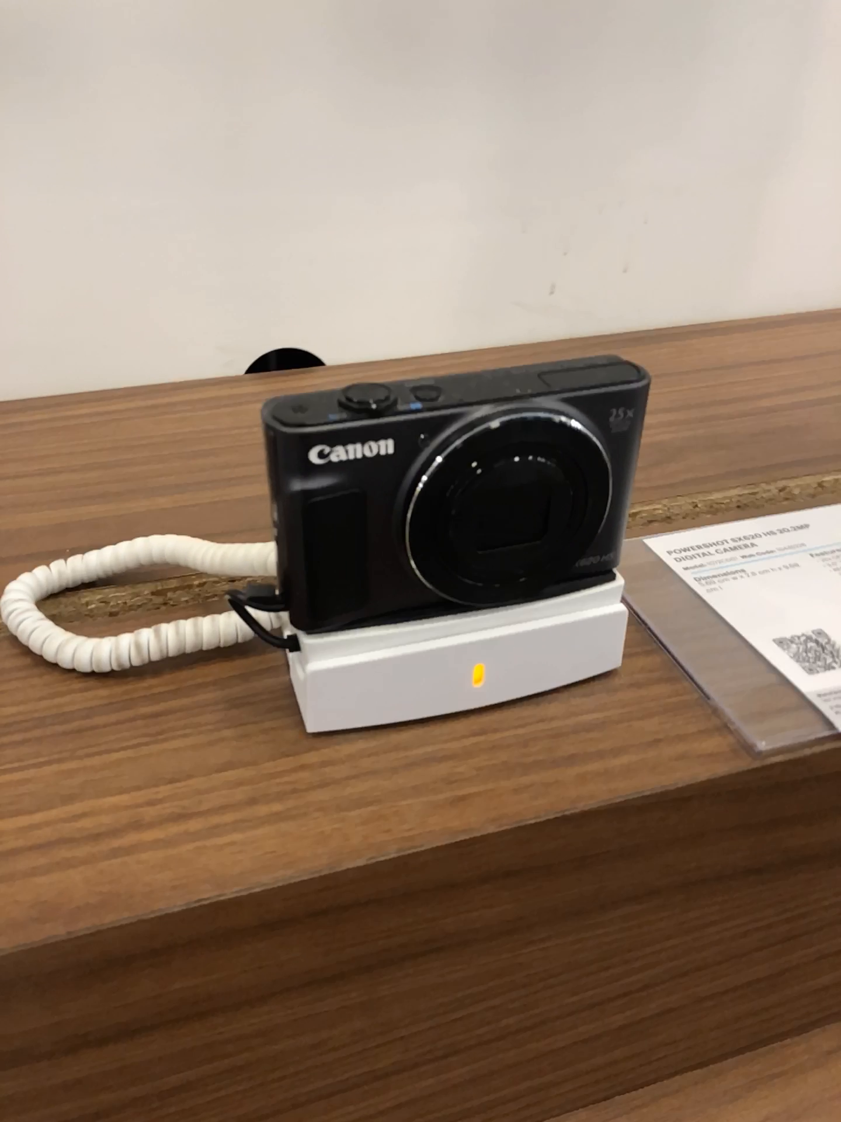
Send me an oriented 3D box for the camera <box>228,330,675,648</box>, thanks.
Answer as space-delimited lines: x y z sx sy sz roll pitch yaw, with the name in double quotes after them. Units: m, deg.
0.007 -0.019 0.234 0.100 0.060 0.030 -9 32 -14 "camera"
